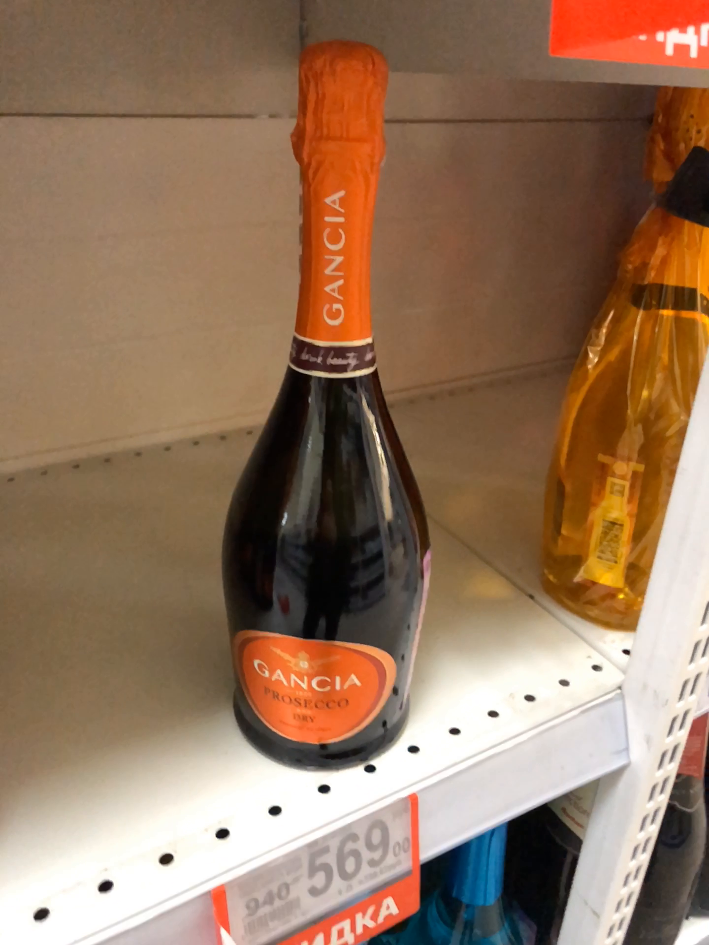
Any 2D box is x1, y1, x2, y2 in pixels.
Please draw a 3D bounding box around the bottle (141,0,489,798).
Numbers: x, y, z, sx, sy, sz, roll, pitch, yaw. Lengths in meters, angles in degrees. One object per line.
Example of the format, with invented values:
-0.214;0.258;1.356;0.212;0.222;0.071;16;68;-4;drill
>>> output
-0.012;-0.017;0.336;0.100;0.308;0.101;2;27;-1;bottle
